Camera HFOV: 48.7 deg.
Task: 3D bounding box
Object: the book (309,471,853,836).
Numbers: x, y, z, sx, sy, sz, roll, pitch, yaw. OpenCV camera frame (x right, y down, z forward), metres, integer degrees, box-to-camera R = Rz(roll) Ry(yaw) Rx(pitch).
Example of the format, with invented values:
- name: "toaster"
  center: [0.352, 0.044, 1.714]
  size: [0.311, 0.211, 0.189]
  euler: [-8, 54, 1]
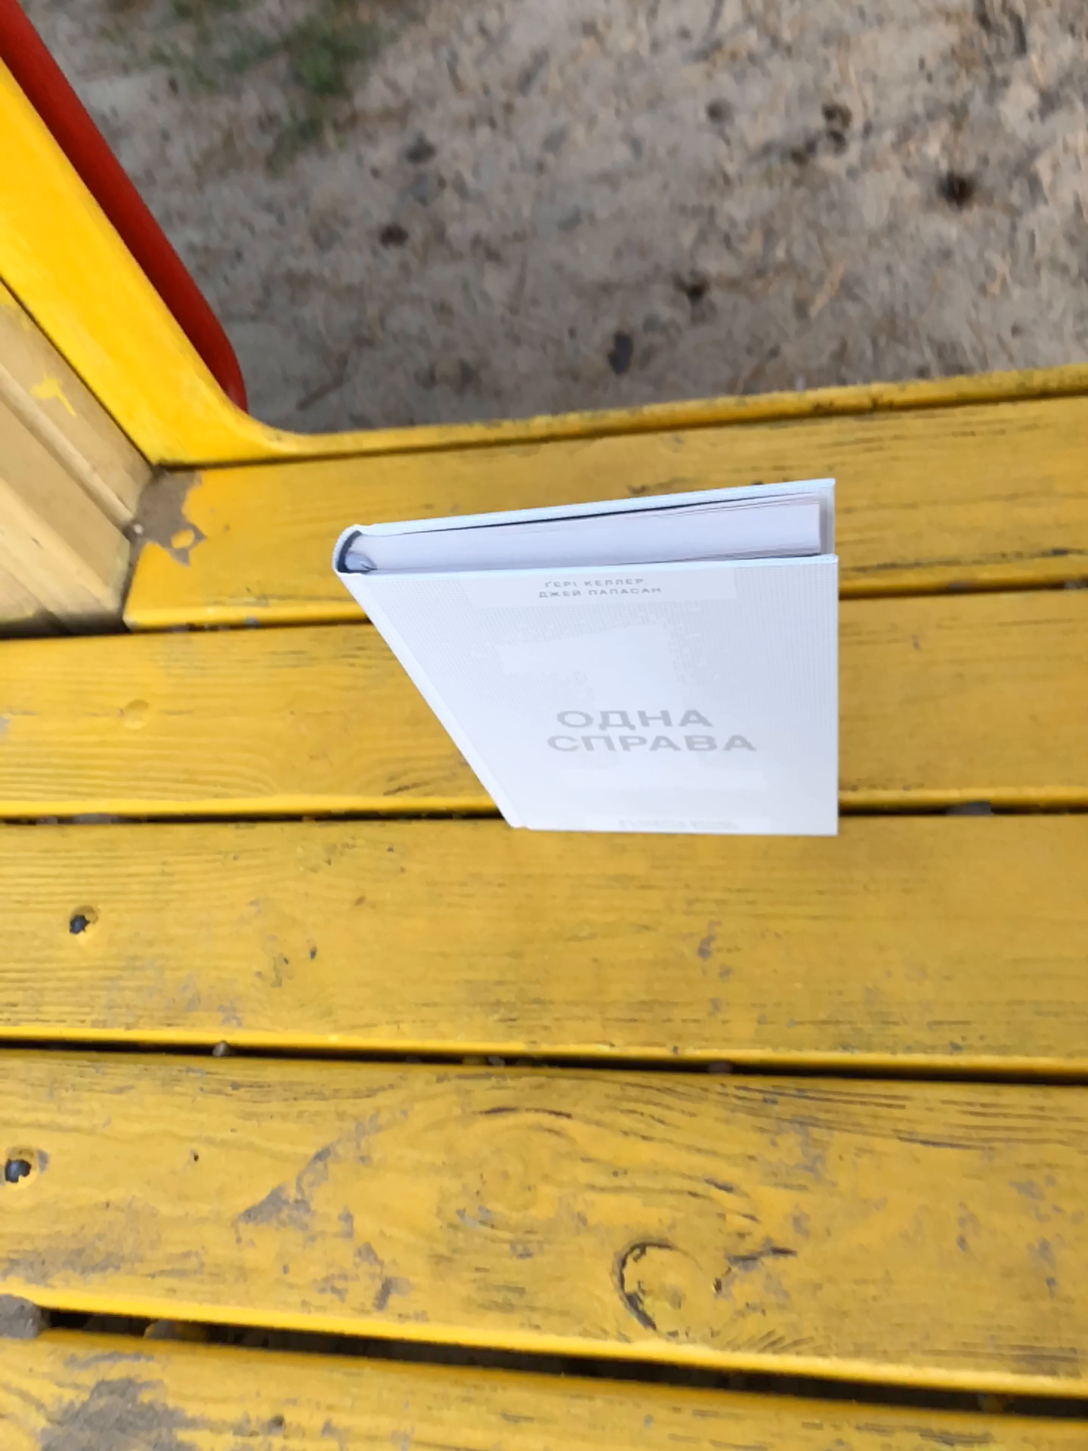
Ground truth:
- name: "book"
  center: [0.030, -0.012, 0.431]
  size: [0.154, 0.209, 0.030]
  euler: [0, 65, 14]
